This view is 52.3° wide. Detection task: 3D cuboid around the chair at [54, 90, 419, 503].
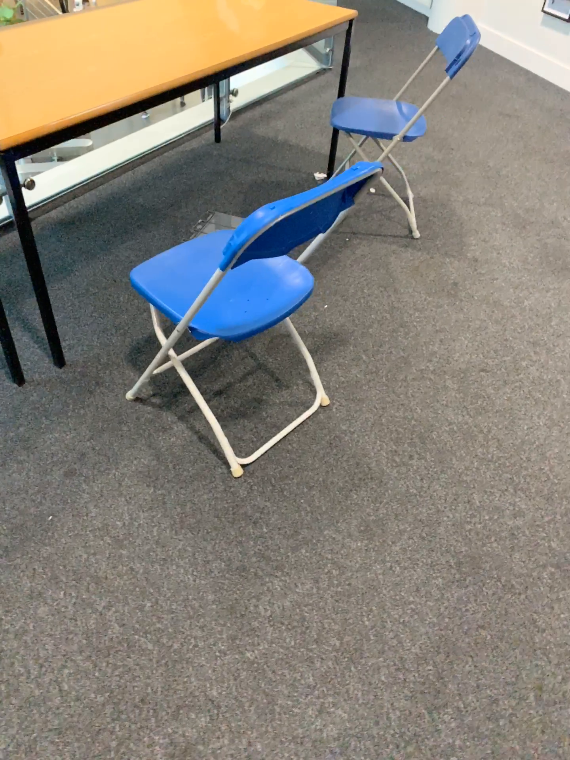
[{"bbox_3d":[-0.118,-0.223,1.458,0.552,0.713,0.533,34,50,27],"label":"chair"}]
